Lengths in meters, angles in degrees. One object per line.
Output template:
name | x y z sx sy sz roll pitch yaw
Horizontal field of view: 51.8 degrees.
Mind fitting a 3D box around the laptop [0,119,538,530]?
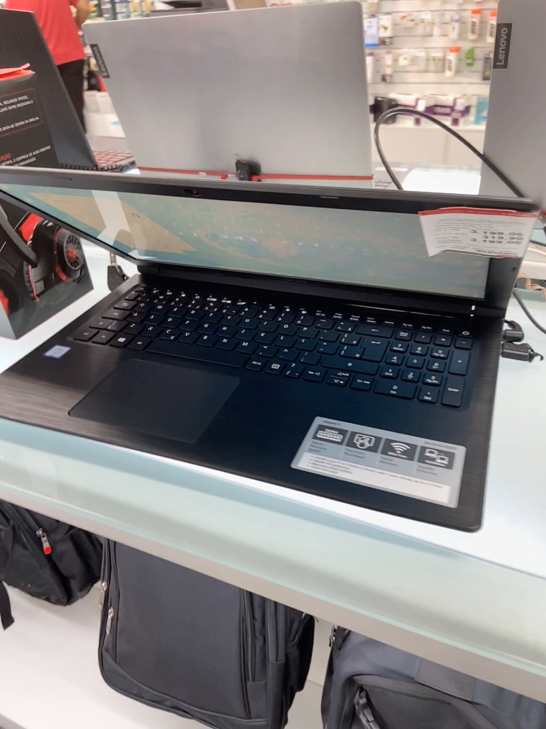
laptop | -0.023 -0.070 0.413 0.370 0.157 0.240 10 36 20
